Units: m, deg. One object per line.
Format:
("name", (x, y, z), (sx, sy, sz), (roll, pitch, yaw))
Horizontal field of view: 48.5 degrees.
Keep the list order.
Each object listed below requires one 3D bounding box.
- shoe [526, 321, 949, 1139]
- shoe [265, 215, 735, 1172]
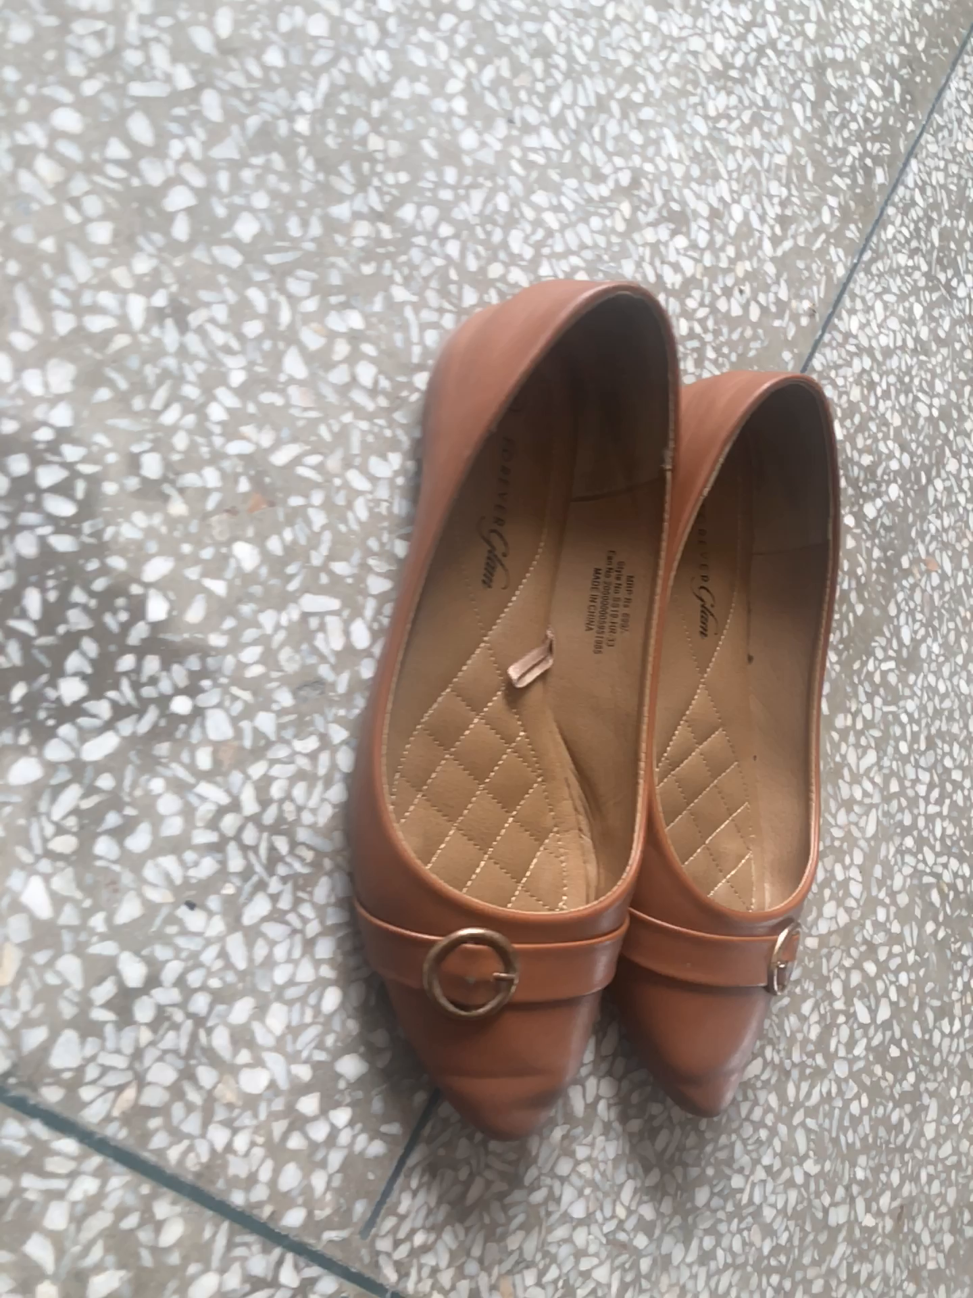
("shoe", (0.084, 0.029, 0.367), (0.090, 0.050, 0.250), (6, 95, -29))
("shoe", (0.002, 0.017, 0.321), (0.090, 0.050, 0.250), (6, 95, -29))
